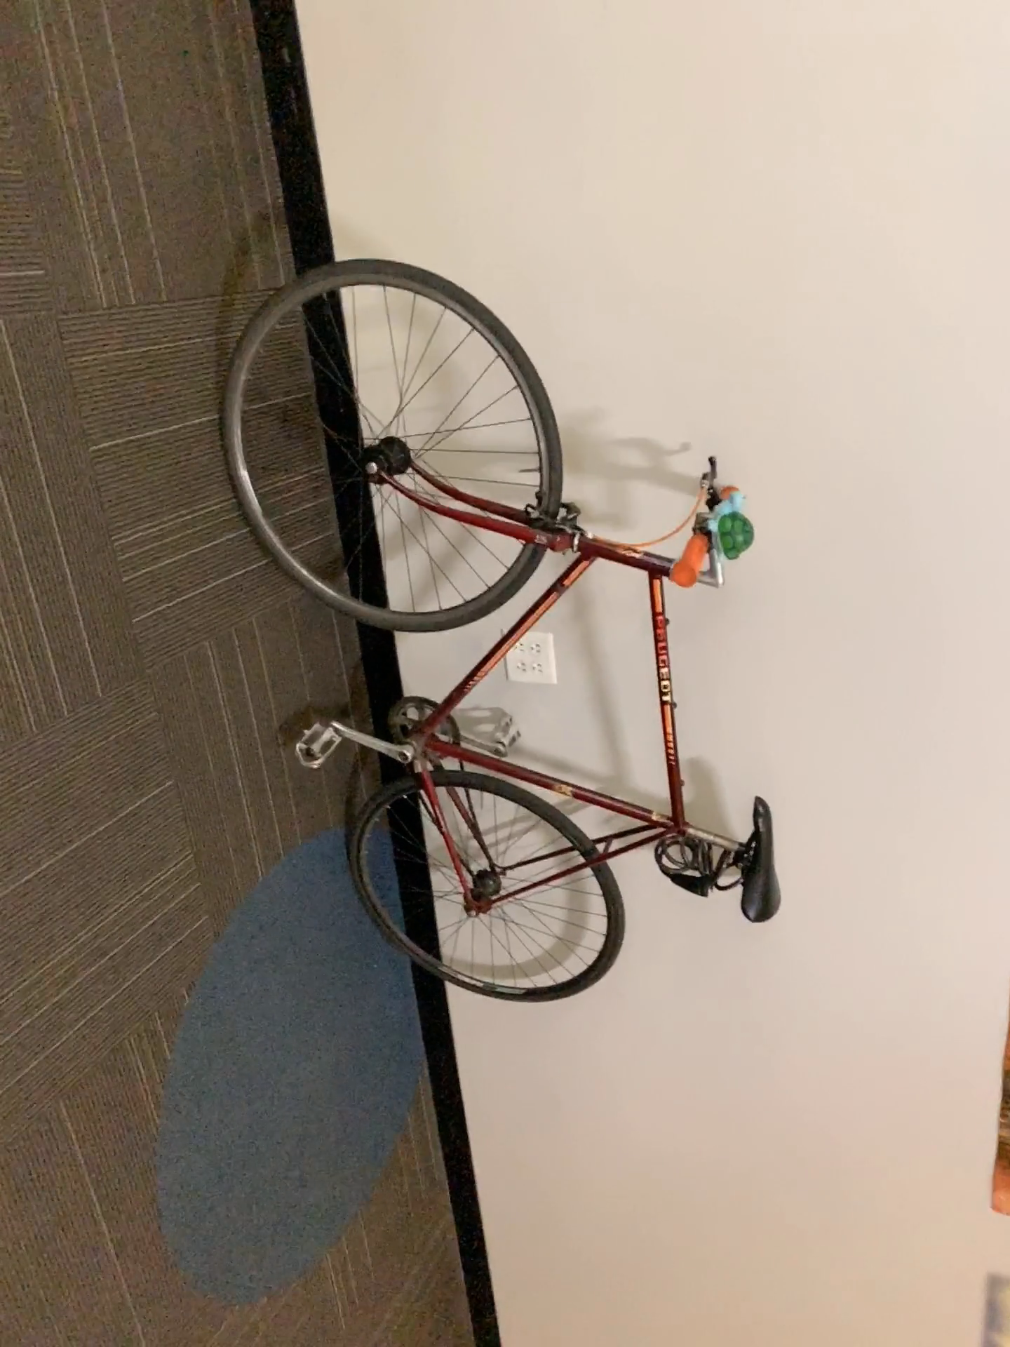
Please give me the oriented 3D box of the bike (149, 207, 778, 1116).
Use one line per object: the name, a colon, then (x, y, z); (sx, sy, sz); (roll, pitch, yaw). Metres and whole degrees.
bike: (0.028, 0.037, 2.064); (0.450, 0.909, 1.630); (-50, 138, -51)
